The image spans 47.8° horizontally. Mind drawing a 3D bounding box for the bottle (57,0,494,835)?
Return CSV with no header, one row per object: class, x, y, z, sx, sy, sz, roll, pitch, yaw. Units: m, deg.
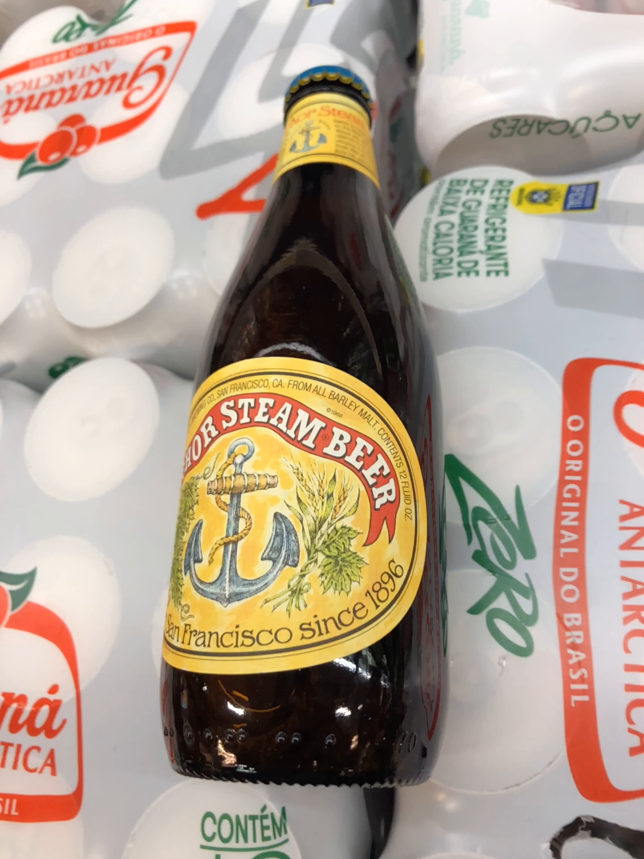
bottle,-0.003,-0.029,0.186,0.070,0.060,0.221,-7,68,18
